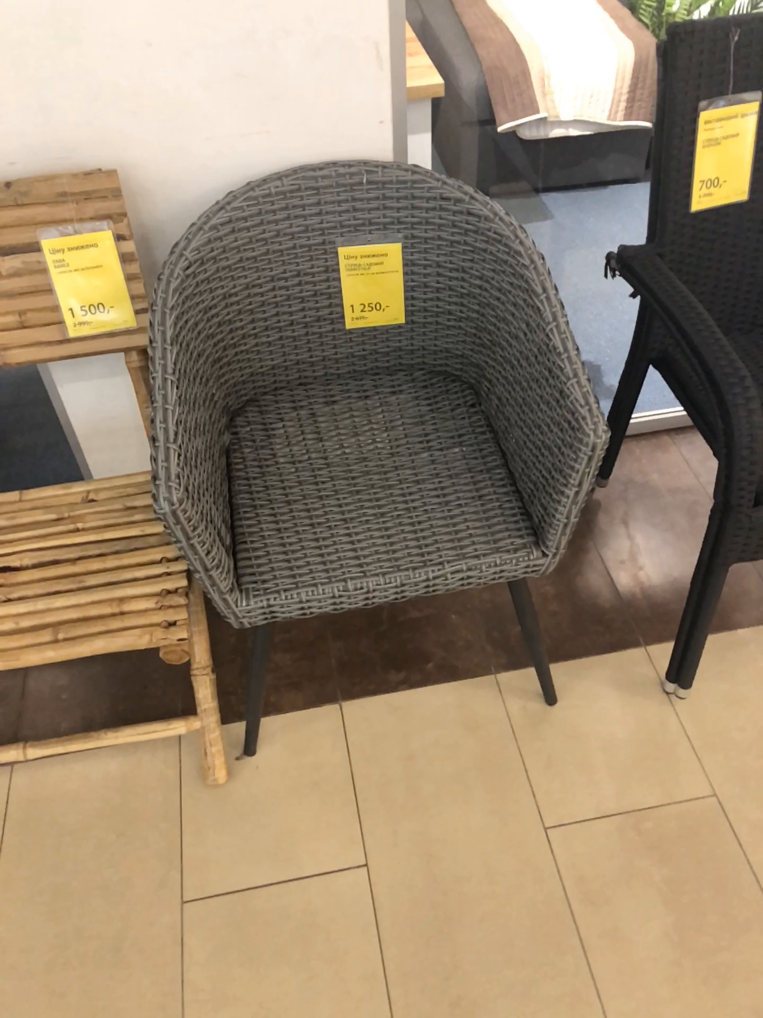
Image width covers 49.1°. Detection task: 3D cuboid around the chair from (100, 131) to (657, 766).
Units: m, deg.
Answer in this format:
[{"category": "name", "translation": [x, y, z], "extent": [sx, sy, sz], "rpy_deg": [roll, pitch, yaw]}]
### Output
[{"category": "chair", "translation": [-0.026, -0.071, 1.285], "extent": [0.570, 0.737, 0.522], "rpy_deg": [-9, 46, -6]}]
